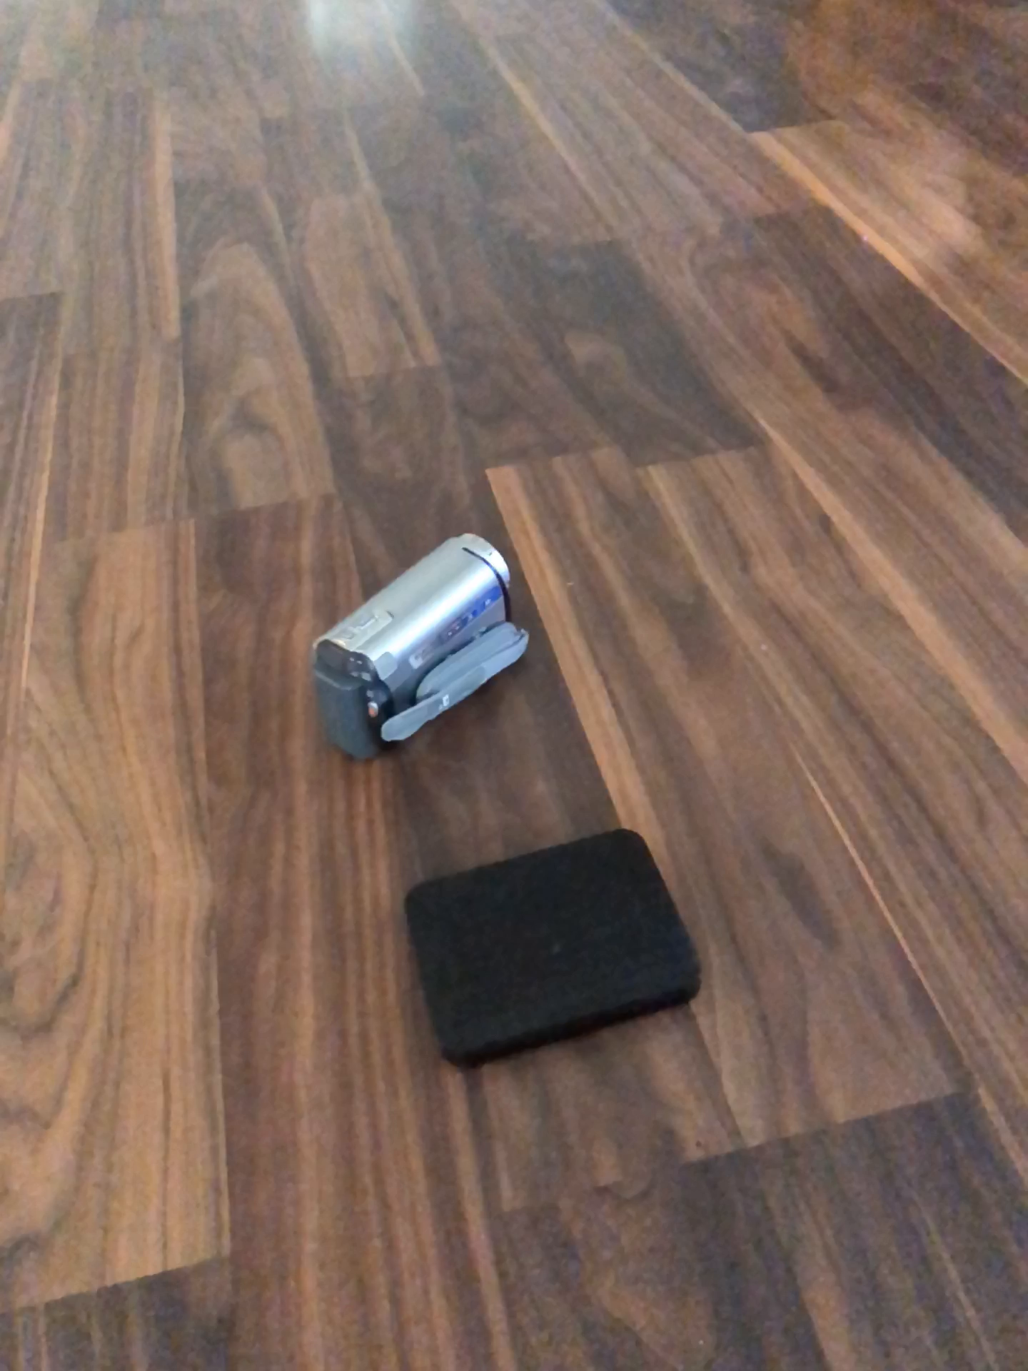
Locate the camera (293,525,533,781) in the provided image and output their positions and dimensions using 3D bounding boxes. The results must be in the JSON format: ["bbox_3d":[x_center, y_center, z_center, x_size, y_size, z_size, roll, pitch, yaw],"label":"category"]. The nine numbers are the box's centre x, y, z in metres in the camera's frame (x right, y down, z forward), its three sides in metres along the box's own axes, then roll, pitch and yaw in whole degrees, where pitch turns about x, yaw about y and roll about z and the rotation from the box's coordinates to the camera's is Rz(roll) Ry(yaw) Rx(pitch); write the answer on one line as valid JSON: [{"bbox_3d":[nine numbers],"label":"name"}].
[{"bbox_3d":[-0.047,-0.019,0.573,0.048,0.065,0.115,28,53,30],"label":"camera"}]
